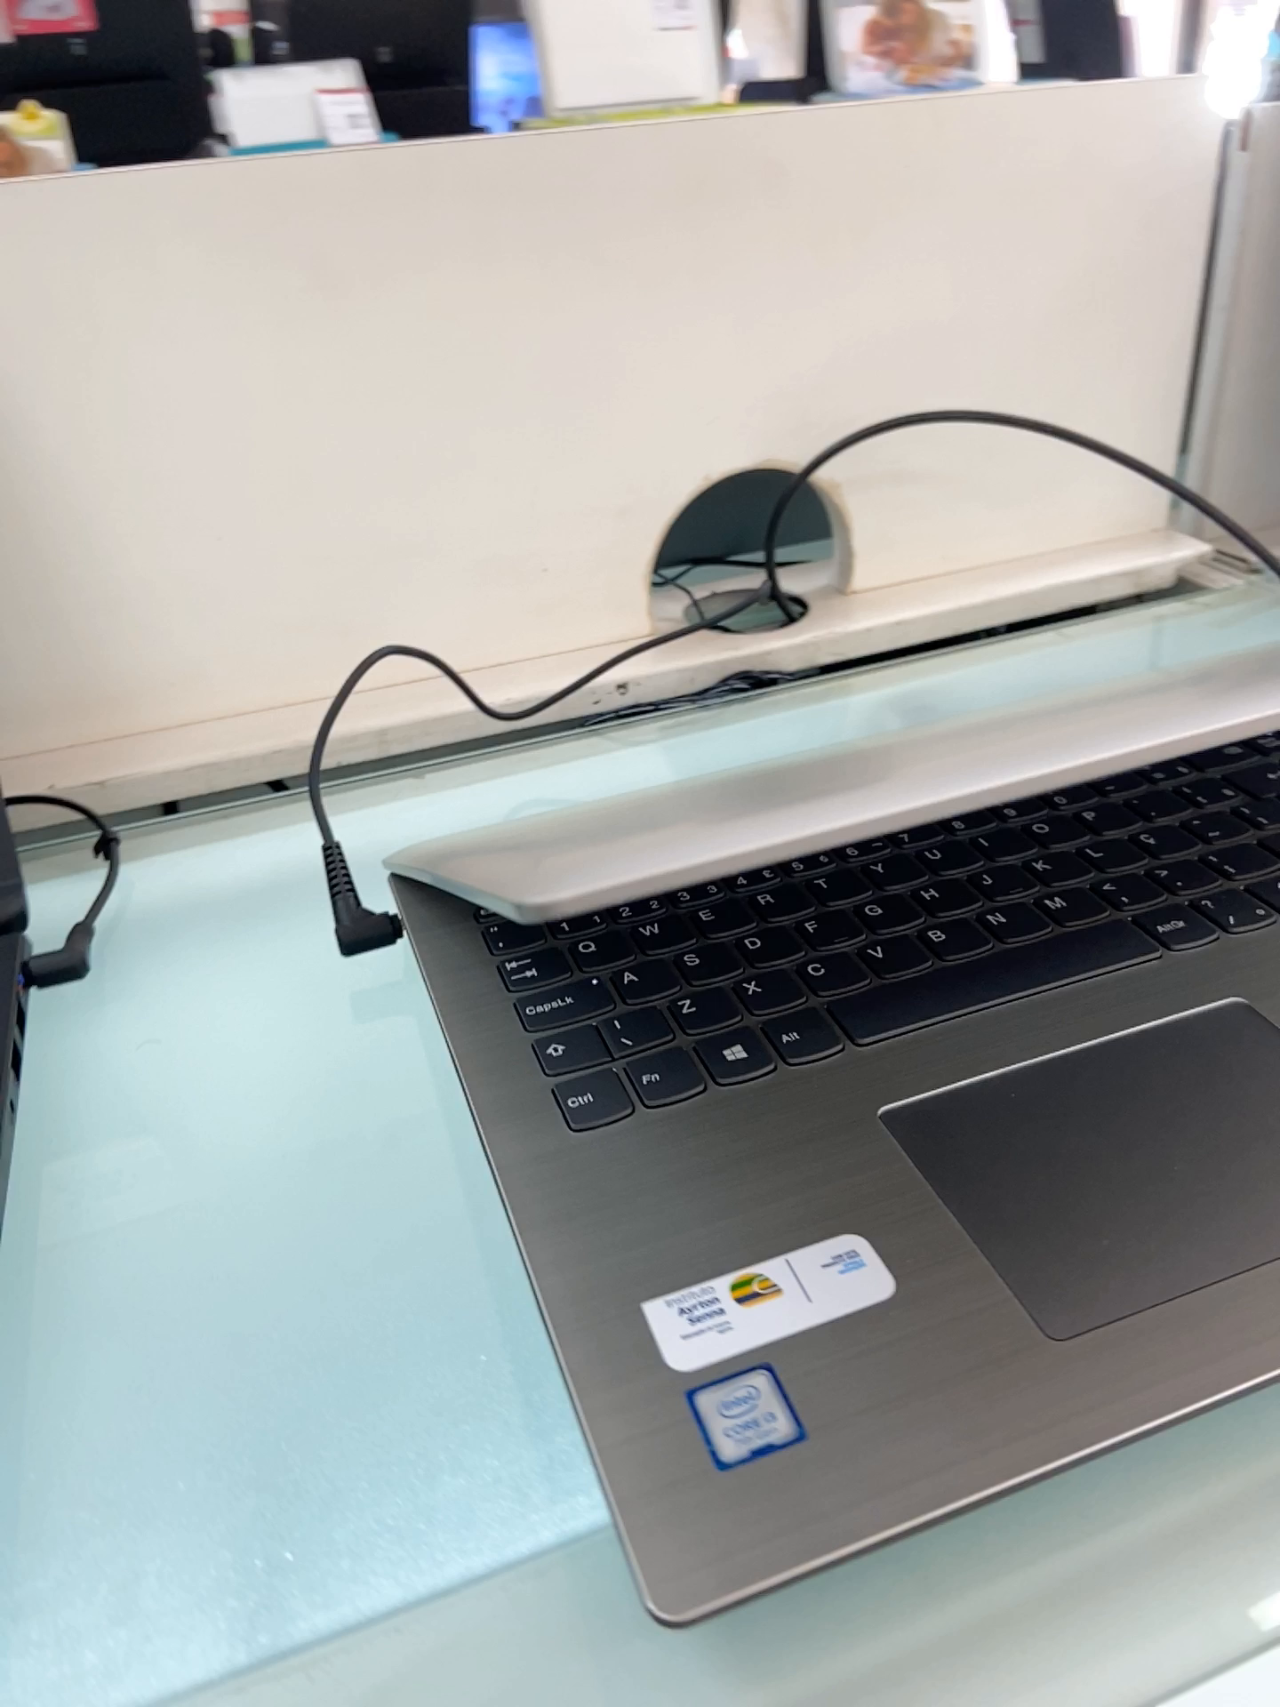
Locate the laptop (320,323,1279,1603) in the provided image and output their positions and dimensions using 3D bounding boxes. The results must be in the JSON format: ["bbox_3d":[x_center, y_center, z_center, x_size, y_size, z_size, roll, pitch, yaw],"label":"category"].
[{"bbox_3d":[0.131,-0.030,0.333,0.369,0.114,0.247,-14,32,-14],"label":"laptop"}]
